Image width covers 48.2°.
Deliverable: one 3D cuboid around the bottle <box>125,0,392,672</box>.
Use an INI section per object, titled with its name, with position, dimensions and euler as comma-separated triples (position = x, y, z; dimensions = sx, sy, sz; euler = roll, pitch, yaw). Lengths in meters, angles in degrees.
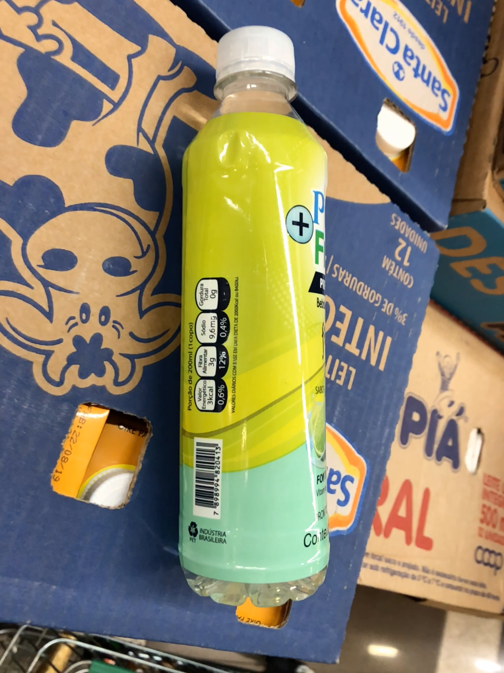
[bottle]
position = -0.001, -0.026, 0.216
dimensions = 0.070, 0.060, 0.250
euler = 2, 83, -38
